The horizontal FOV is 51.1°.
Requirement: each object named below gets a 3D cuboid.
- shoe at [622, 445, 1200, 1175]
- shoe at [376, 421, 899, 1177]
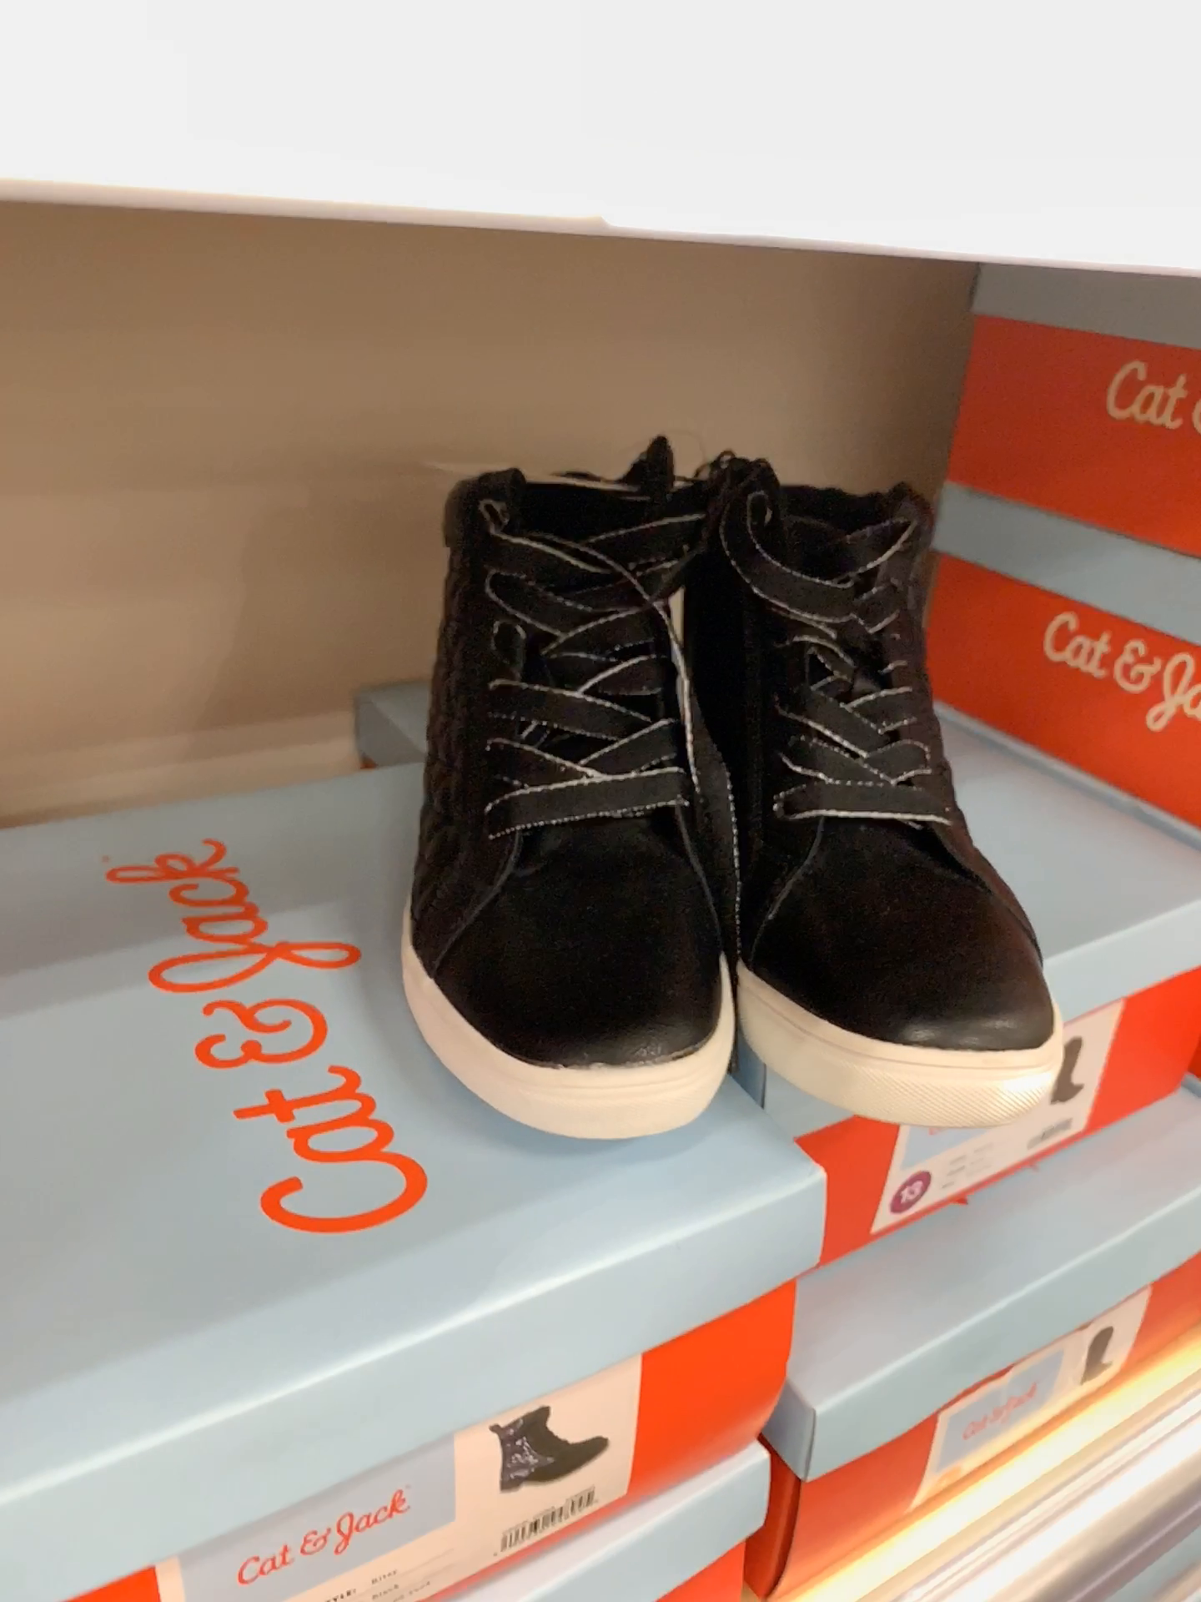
[{"bbox_3d":[0.080,-0.019,0.365,0.100,0.109,0.231,1,28,-10],"label":"shoe"},{"bbox_3d":[-0.013,-0.022,0.365,0.100,0.119,0.231,1,28,-10],"label":"shoe"}]
